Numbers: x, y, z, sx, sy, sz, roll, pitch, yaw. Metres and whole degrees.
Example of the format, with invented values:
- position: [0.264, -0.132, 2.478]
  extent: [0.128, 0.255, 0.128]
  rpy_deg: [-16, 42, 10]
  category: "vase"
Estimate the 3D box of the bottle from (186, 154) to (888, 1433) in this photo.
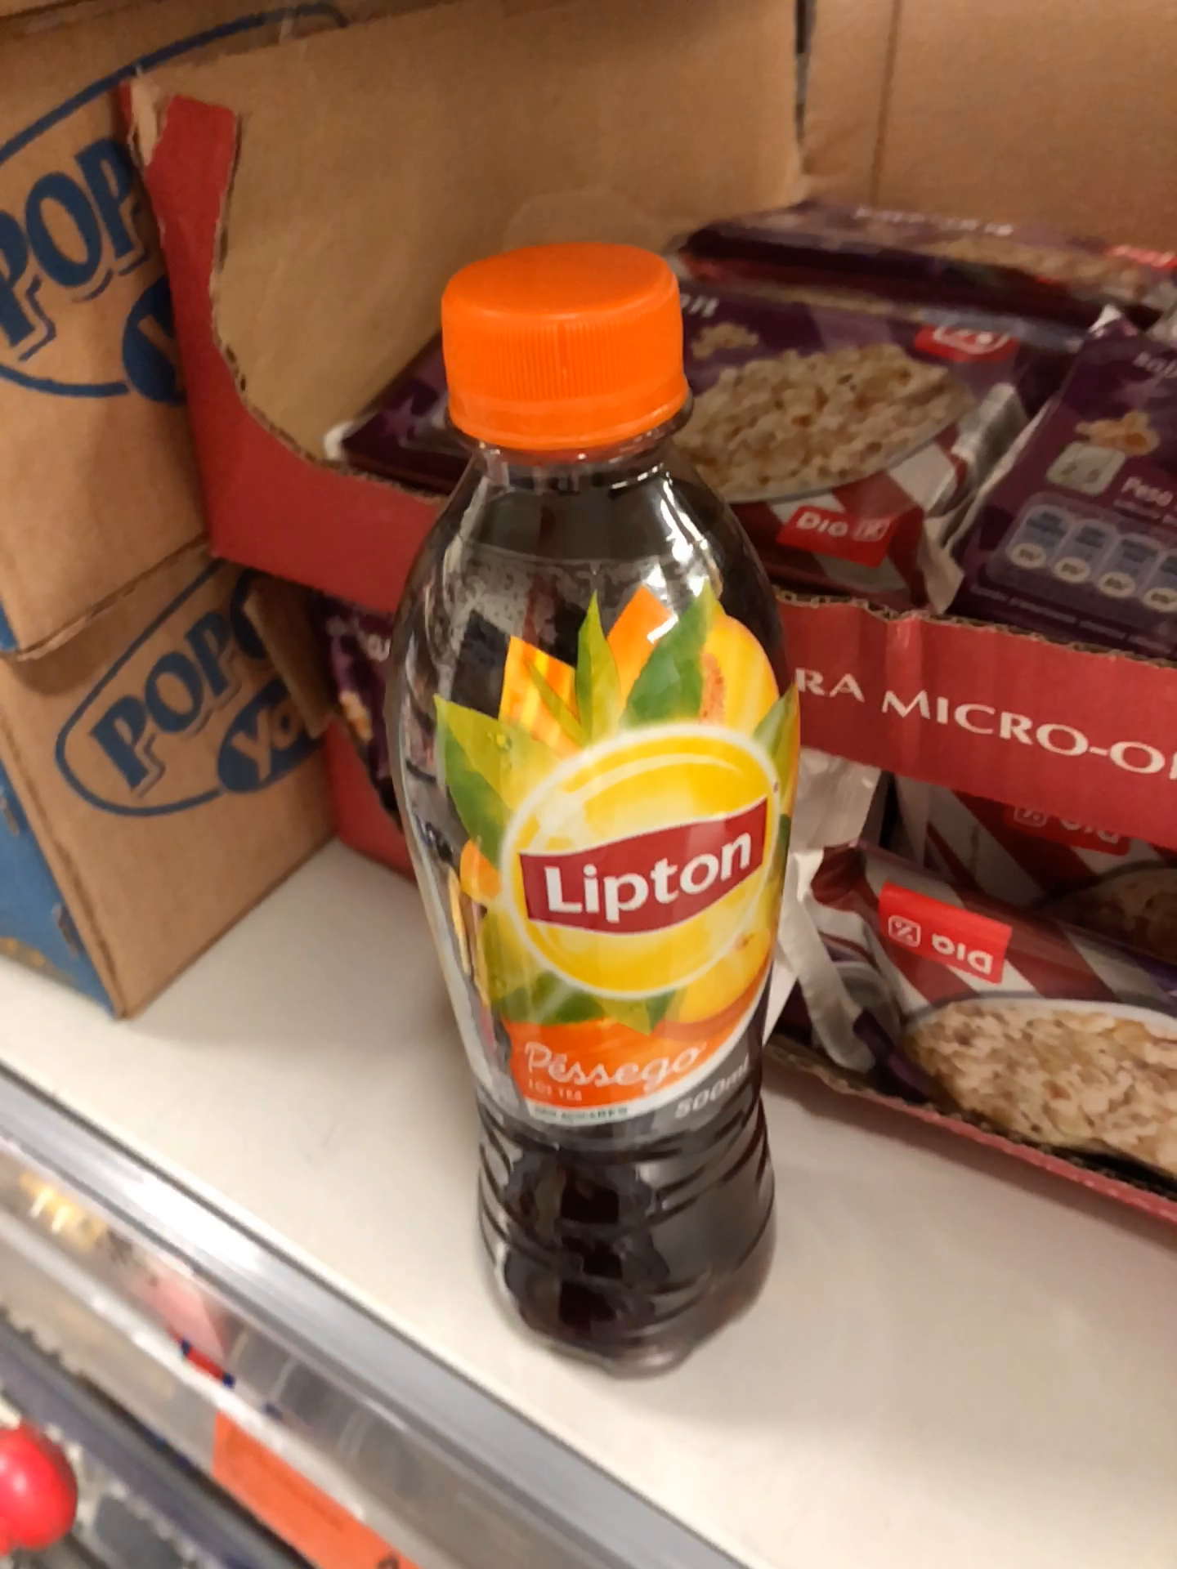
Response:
- position: [-0.002, 0.021, 0.231]
  extent: [0.070, 0.218, 0.070]
  rpy_deg: [-4, 41, 3]
  category: "bottle"
